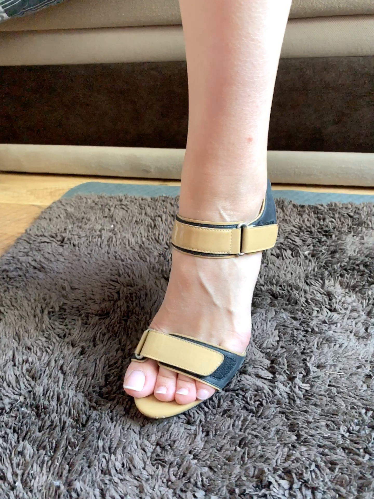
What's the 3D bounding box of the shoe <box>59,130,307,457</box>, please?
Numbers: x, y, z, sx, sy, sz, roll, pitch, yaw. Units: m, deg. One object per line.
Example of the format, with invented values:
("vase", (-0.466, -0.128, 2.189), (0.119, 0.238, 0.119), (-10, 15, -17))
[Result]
("shoe", (0.019, 0.016, 0.309), (0.090, 0.149, 0.201), (13, 39, 23))
